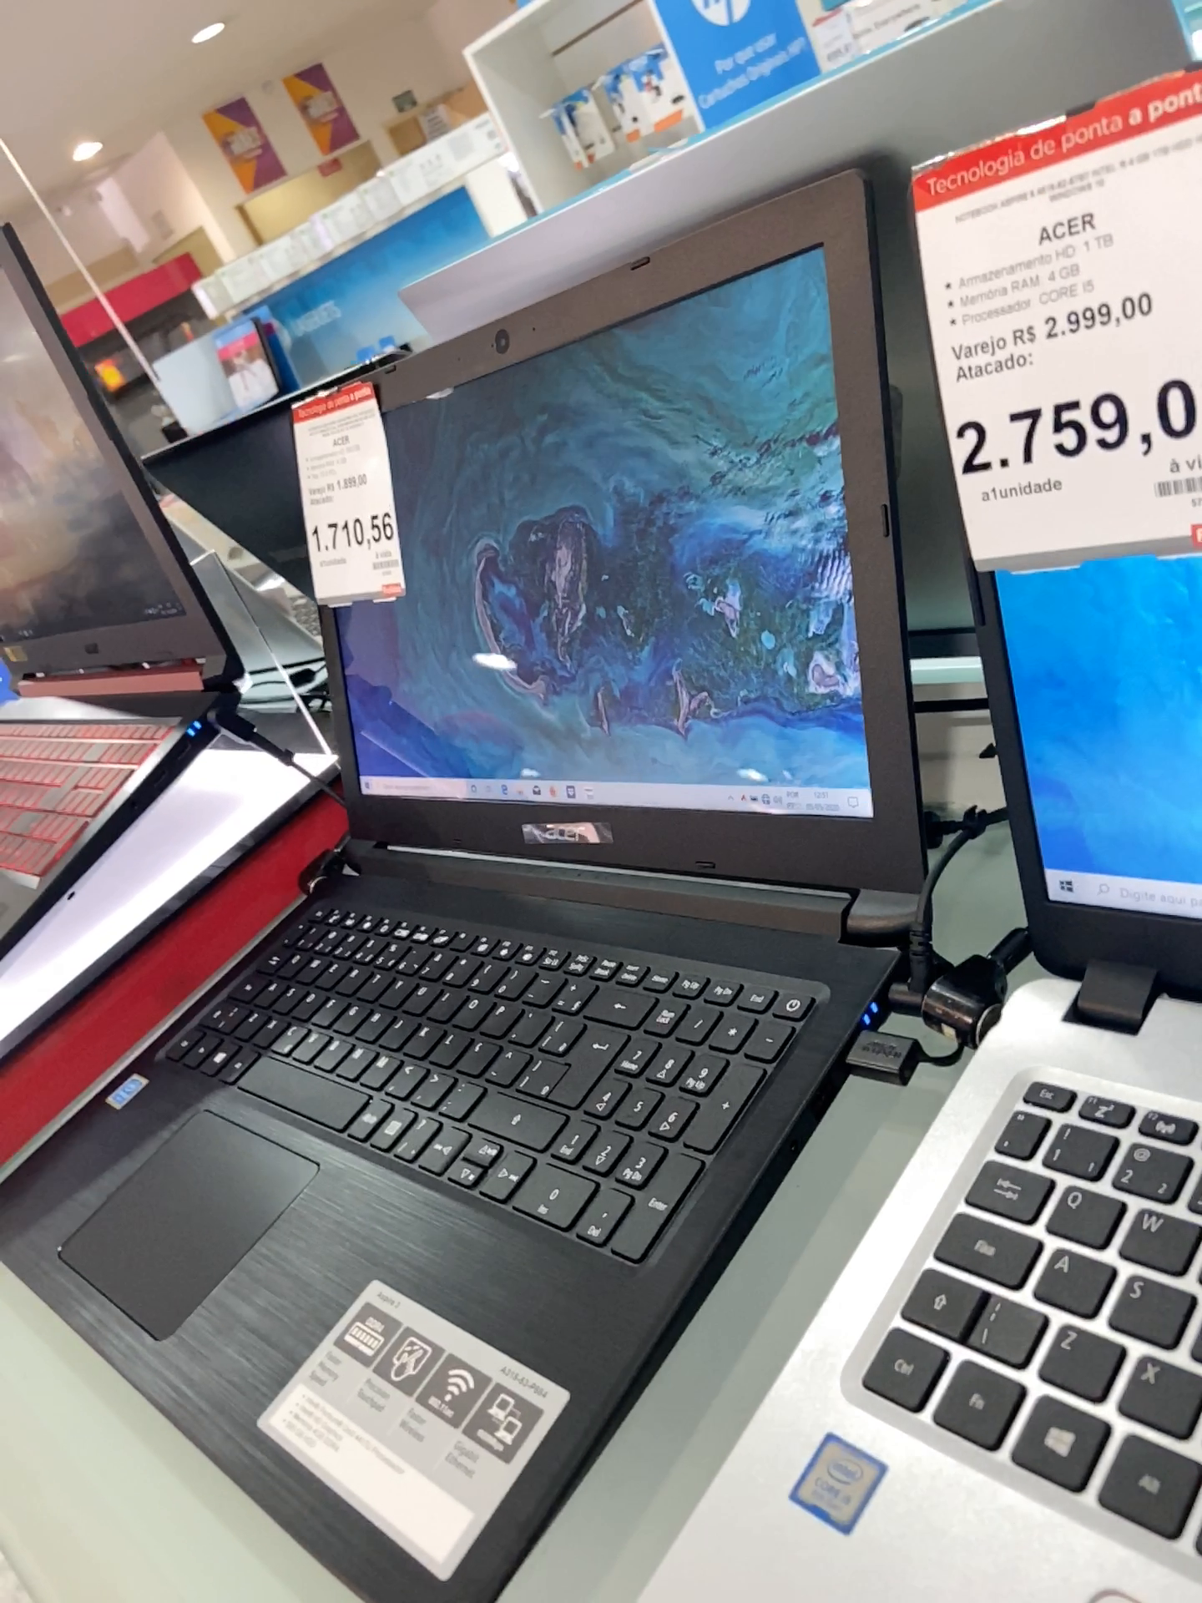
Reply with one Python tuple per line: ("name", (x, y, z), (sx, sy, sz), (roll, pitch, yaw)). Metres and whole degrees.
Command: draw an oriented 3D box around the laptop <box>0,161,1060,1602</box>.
("laptop", (-0.103, -0.007, 0.484), (0.378, 0.216, 0.380), (2, 40, 48))
